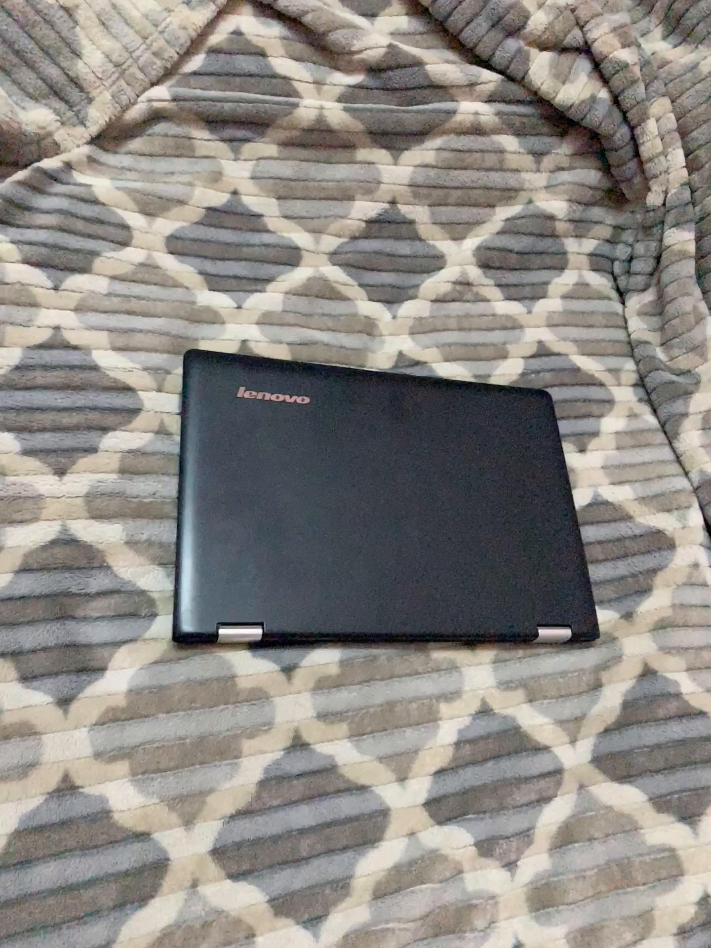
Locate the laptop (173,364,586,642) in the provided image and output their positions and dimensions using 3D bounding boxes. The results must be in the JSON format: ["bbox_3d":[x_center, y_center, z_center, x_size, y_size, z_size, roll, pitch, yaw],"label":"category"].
[{"bbox_3d":[0.027,0.025,0.610,0.339,0.003,0.228,4,65,-18],"label":"laptop"}]
